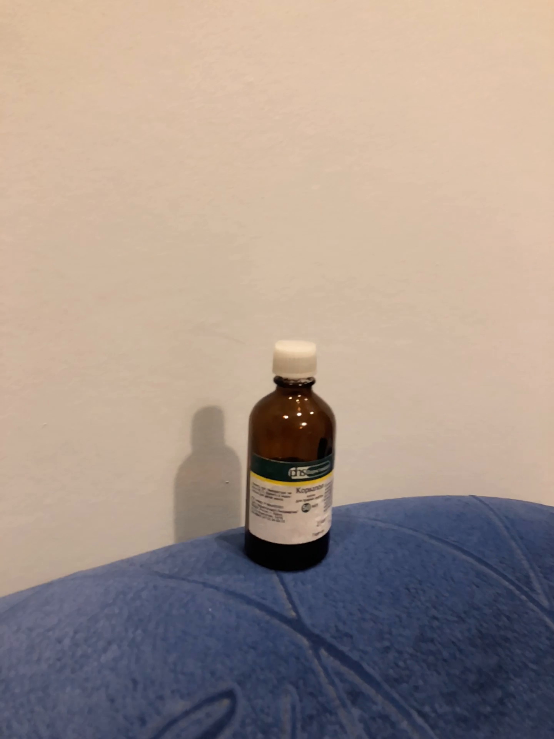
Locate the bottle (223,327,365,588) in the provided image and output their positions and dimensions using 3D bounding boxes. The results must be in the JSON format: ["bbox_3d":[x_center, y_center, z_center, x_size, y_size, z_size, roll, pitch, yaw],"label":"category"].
[{"bbox_3d":[0.006,0.035,0.268,0.045,0.100,0.040,-5,13,-30],"label":"bottle"}]
